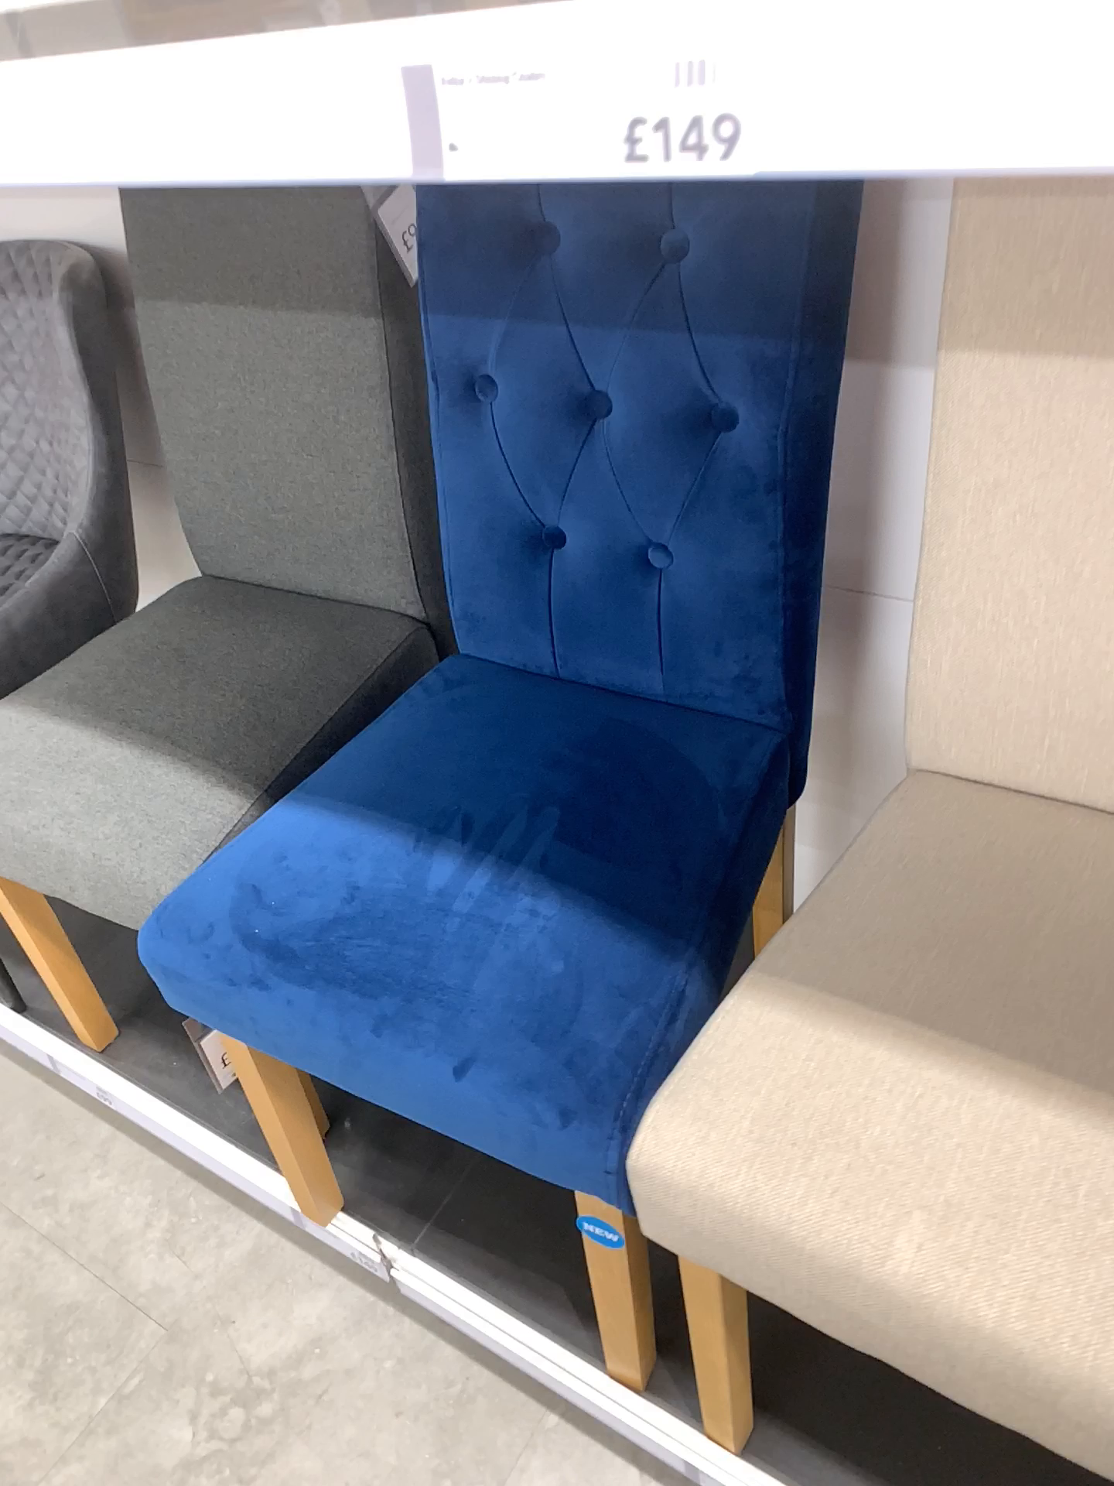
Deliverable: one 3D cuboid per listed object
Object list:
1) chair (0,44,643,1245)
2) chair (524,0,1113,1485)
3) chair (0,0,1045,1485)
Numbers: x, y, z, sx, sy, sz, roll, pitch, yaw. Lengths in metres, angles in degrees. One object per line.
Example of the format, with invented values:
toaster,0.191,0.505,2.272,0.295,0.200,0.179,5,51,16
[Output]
chair,-0.312,-0.130,1.262,0.491,1.024,0.671,16,39,30
chair,0.425,0.083,0.776,0.491,1.034,0.671,16,39,30
chair,0.030,-0.028,1.028,0.491,1.034,0.671,16,39,30
